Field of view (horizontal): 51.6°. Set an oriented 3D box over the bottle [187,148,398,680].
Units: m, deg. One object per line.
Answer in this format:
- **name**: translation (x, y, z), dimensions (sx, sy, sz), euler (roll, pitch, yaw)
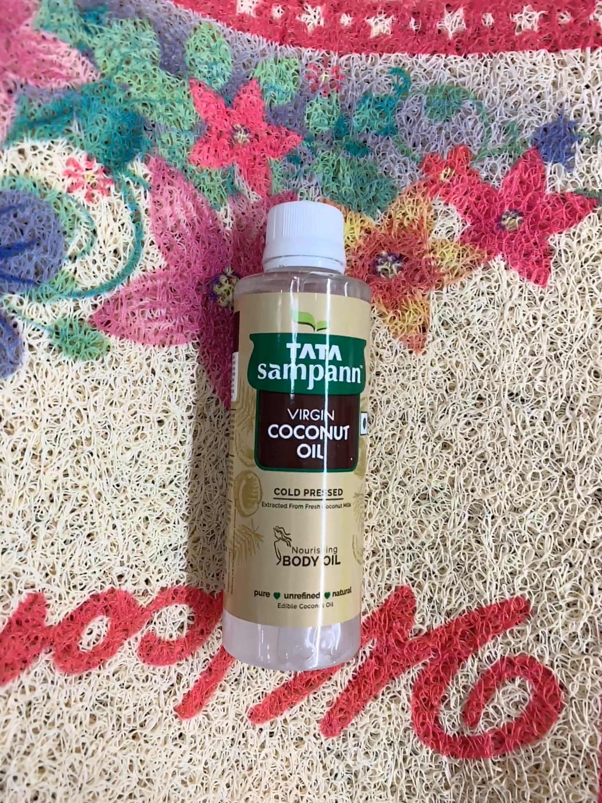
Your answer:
- **bottle**: translation (-0.003, 0.004, 0.186), dimensions (0.050, 0.030, 0.140), euler (3, 90, -19)
